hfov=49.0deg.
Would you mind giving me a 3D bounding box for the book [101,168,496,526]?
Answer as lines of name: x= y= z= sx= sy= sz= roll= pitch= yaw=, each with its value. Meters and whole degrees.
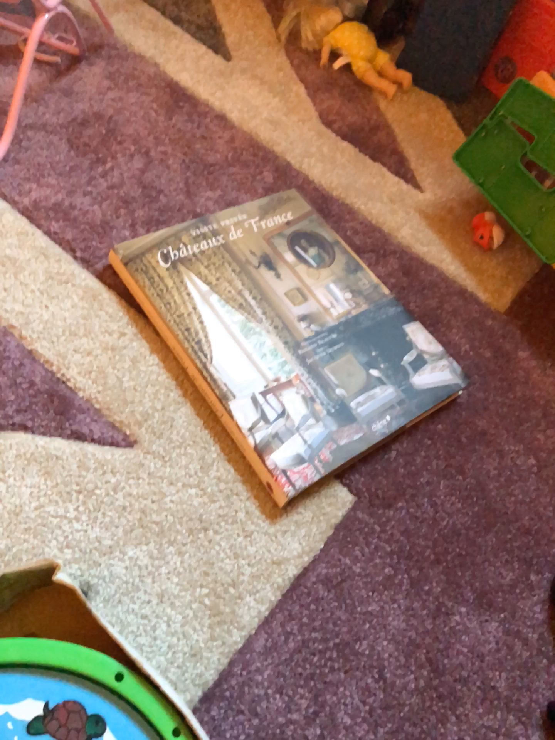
book: x=0.017 y=-0.054 z=0.635 sx=0.261 sy=0.050 sz=0.340 roll=-26 pitch=67 yaw=-28
